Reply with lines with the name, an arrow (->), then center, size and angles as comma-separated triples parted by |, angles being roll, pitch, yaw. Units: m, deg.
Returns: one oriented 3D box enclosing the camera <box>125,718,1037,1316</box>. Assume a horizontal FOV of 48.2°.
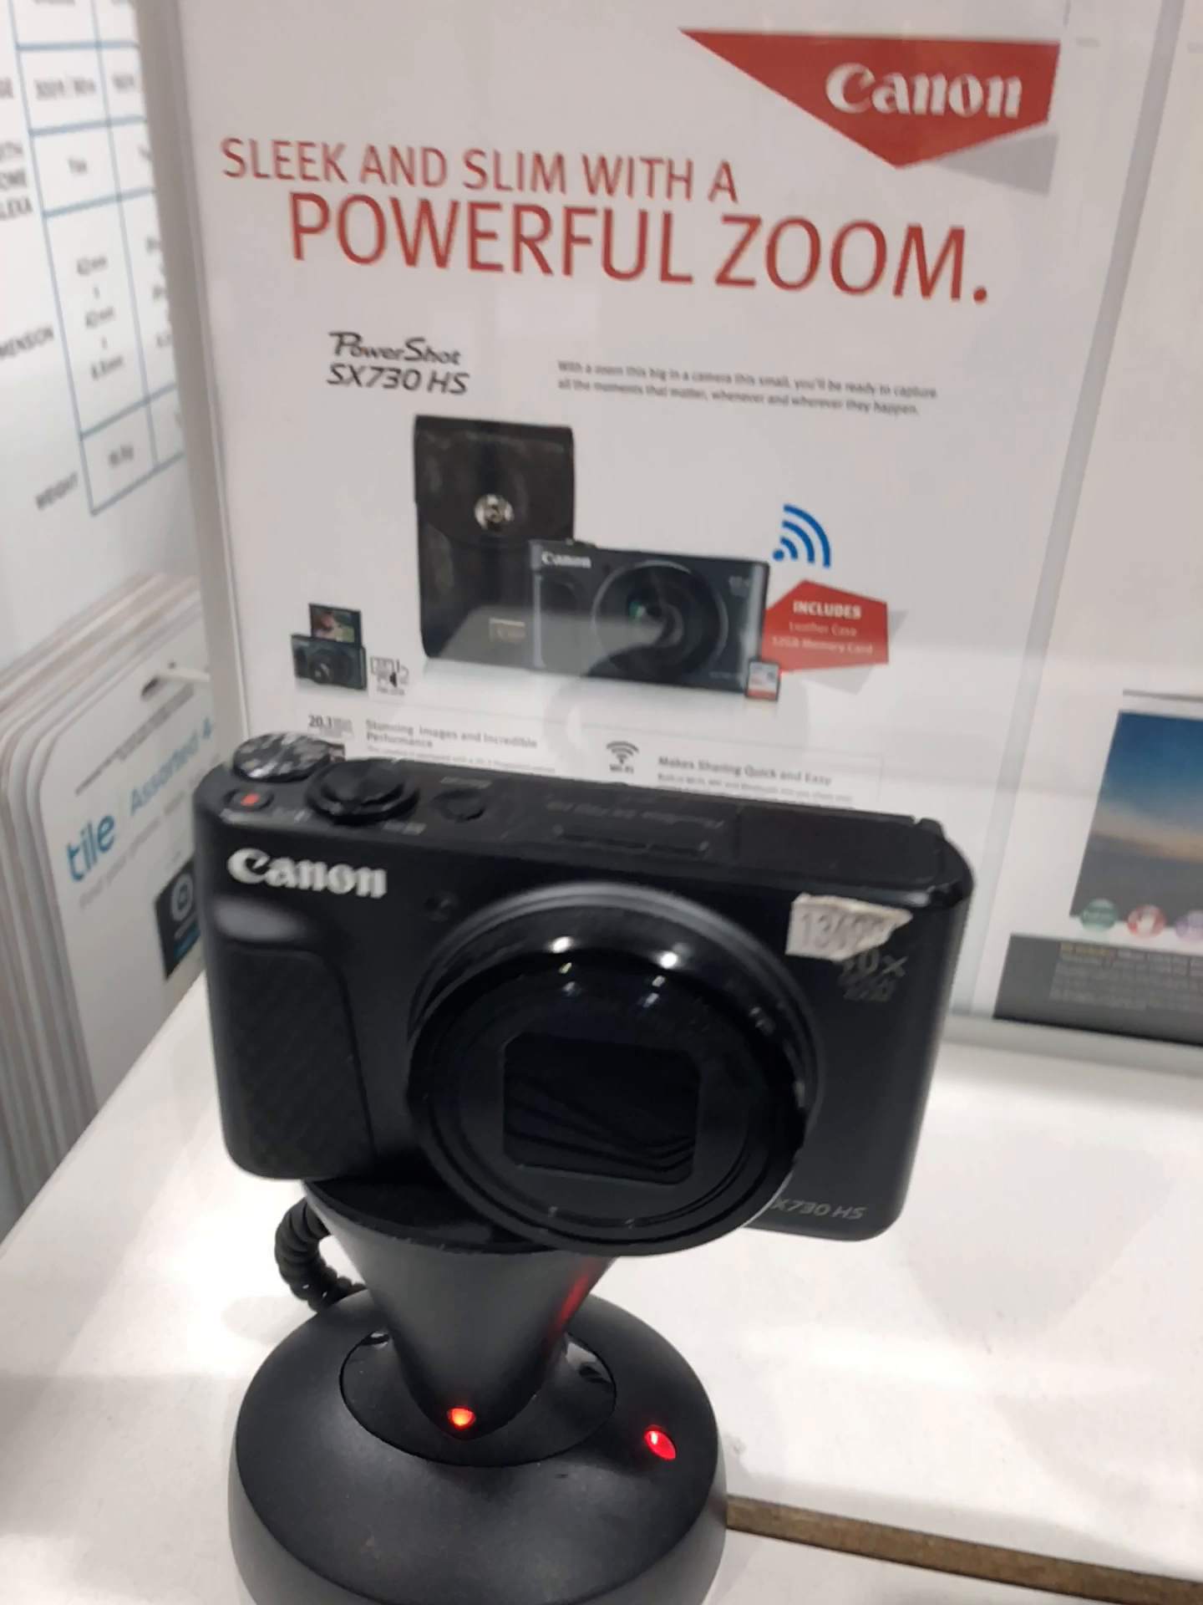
camera -> -0.003, 0.029, 0.192 | 0.110, 0.060, 0.040 | 6, 29, 6
